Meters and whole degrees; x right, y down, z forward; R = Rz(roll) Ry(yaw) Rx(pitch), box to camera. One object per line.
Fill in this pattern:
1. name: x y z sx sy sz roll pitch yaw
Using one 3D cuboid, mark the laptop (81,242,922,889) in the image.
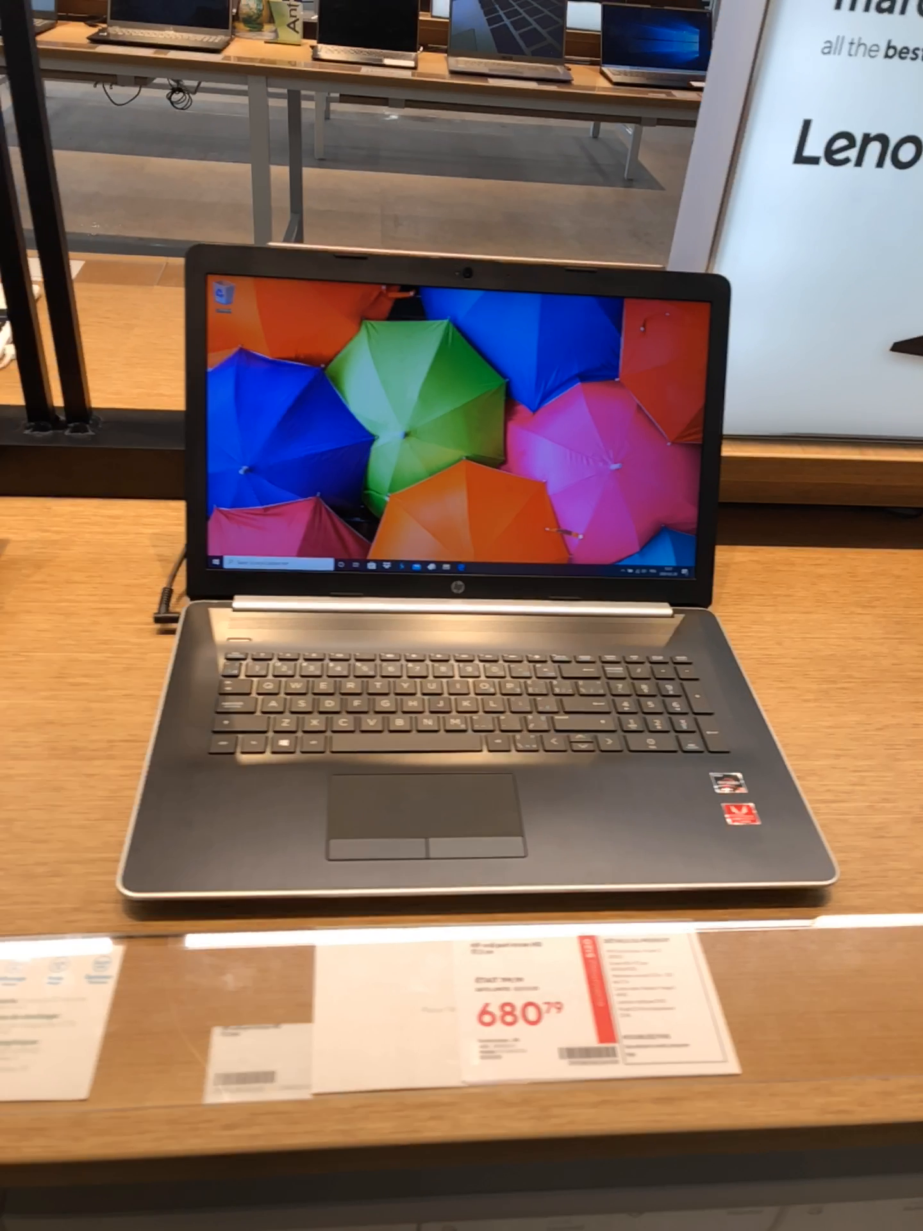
1. laptop: 0.008 -0.059 0.679 0.399 0.217 0.399 1 39 -7
